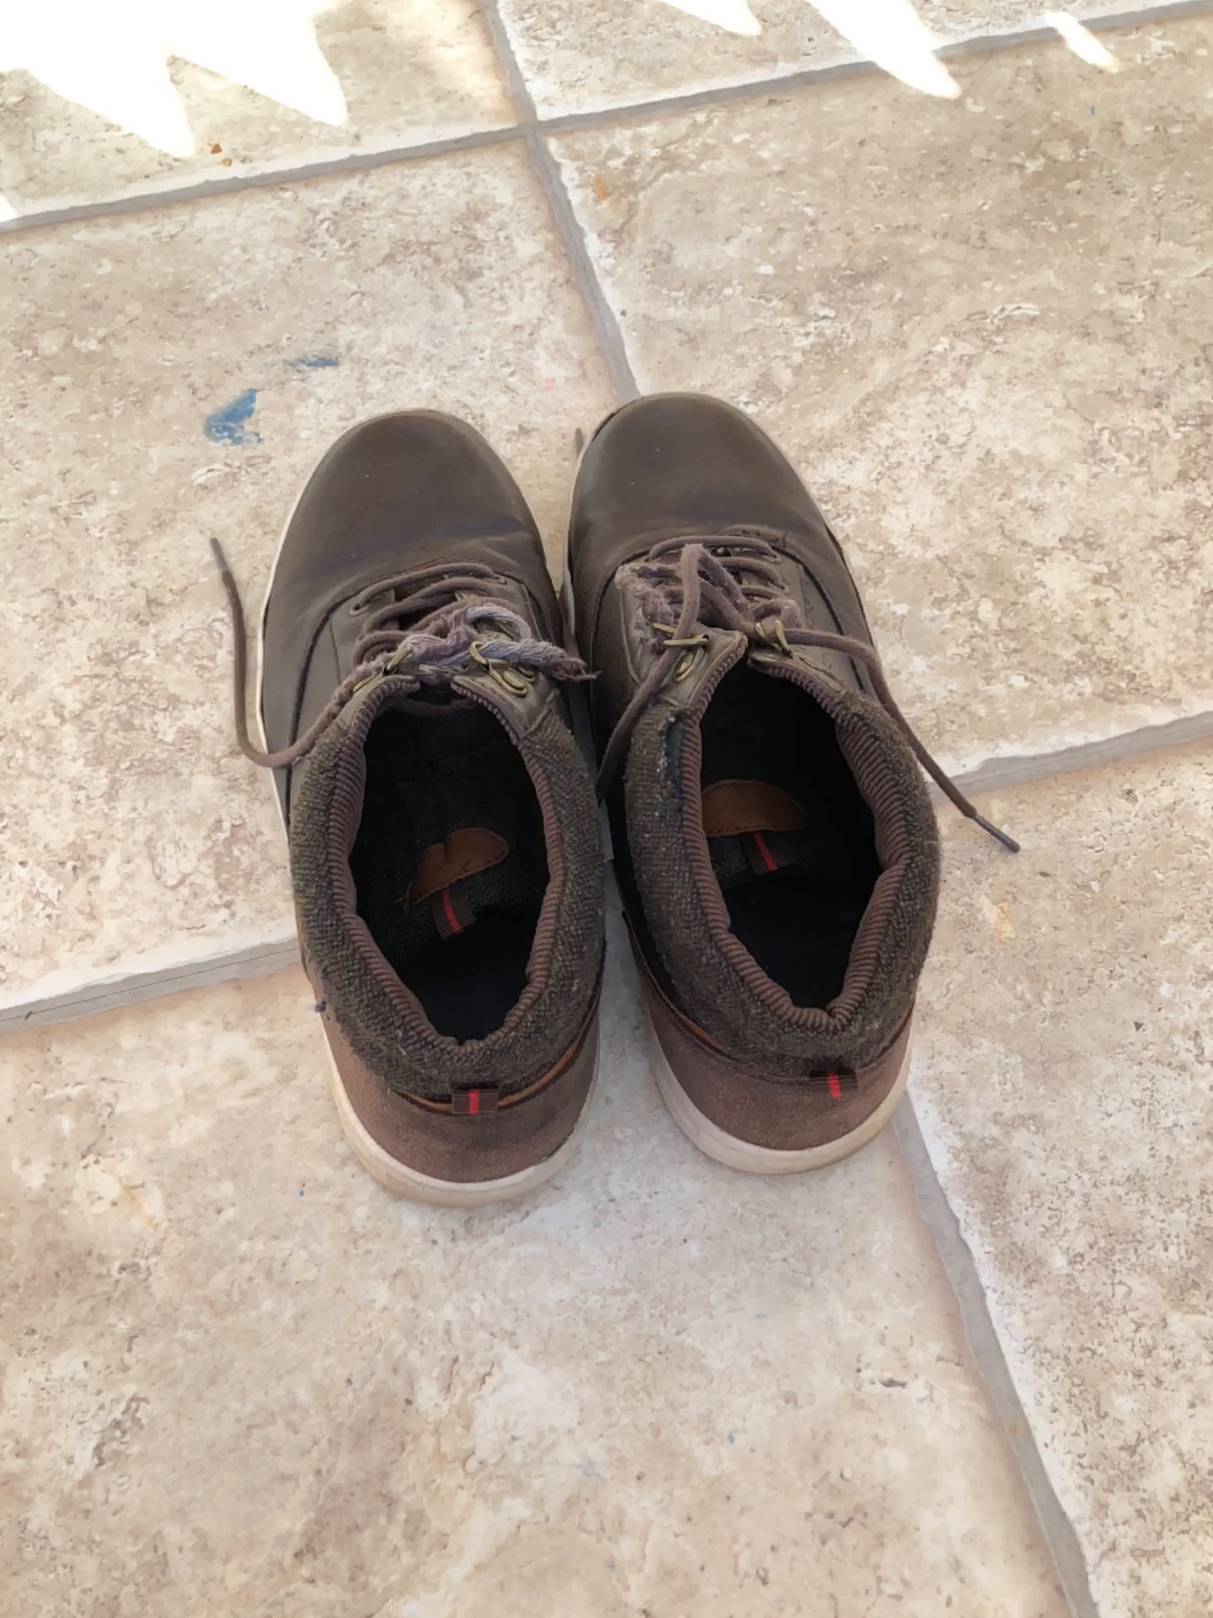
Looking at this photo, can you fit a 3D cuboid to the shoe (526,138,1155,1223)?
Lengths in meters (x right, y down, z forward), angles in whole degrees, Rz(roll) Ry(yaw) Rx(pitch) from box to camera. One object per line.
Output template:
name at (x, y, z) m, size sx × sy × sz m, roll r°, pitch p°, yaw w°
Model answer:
shoe at (0.048, -0.044, 0.426) m, size 0.110 × 0.149 × 0.301 m, roll -7°, pitch 61°, yaw -2°

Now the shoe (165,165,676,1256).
shoe at (-0.059, -0.035, 0.426) m, size 0.110 × 0.149 × 0.301 m, roll -8°, pitch 61°, yaw -3°
